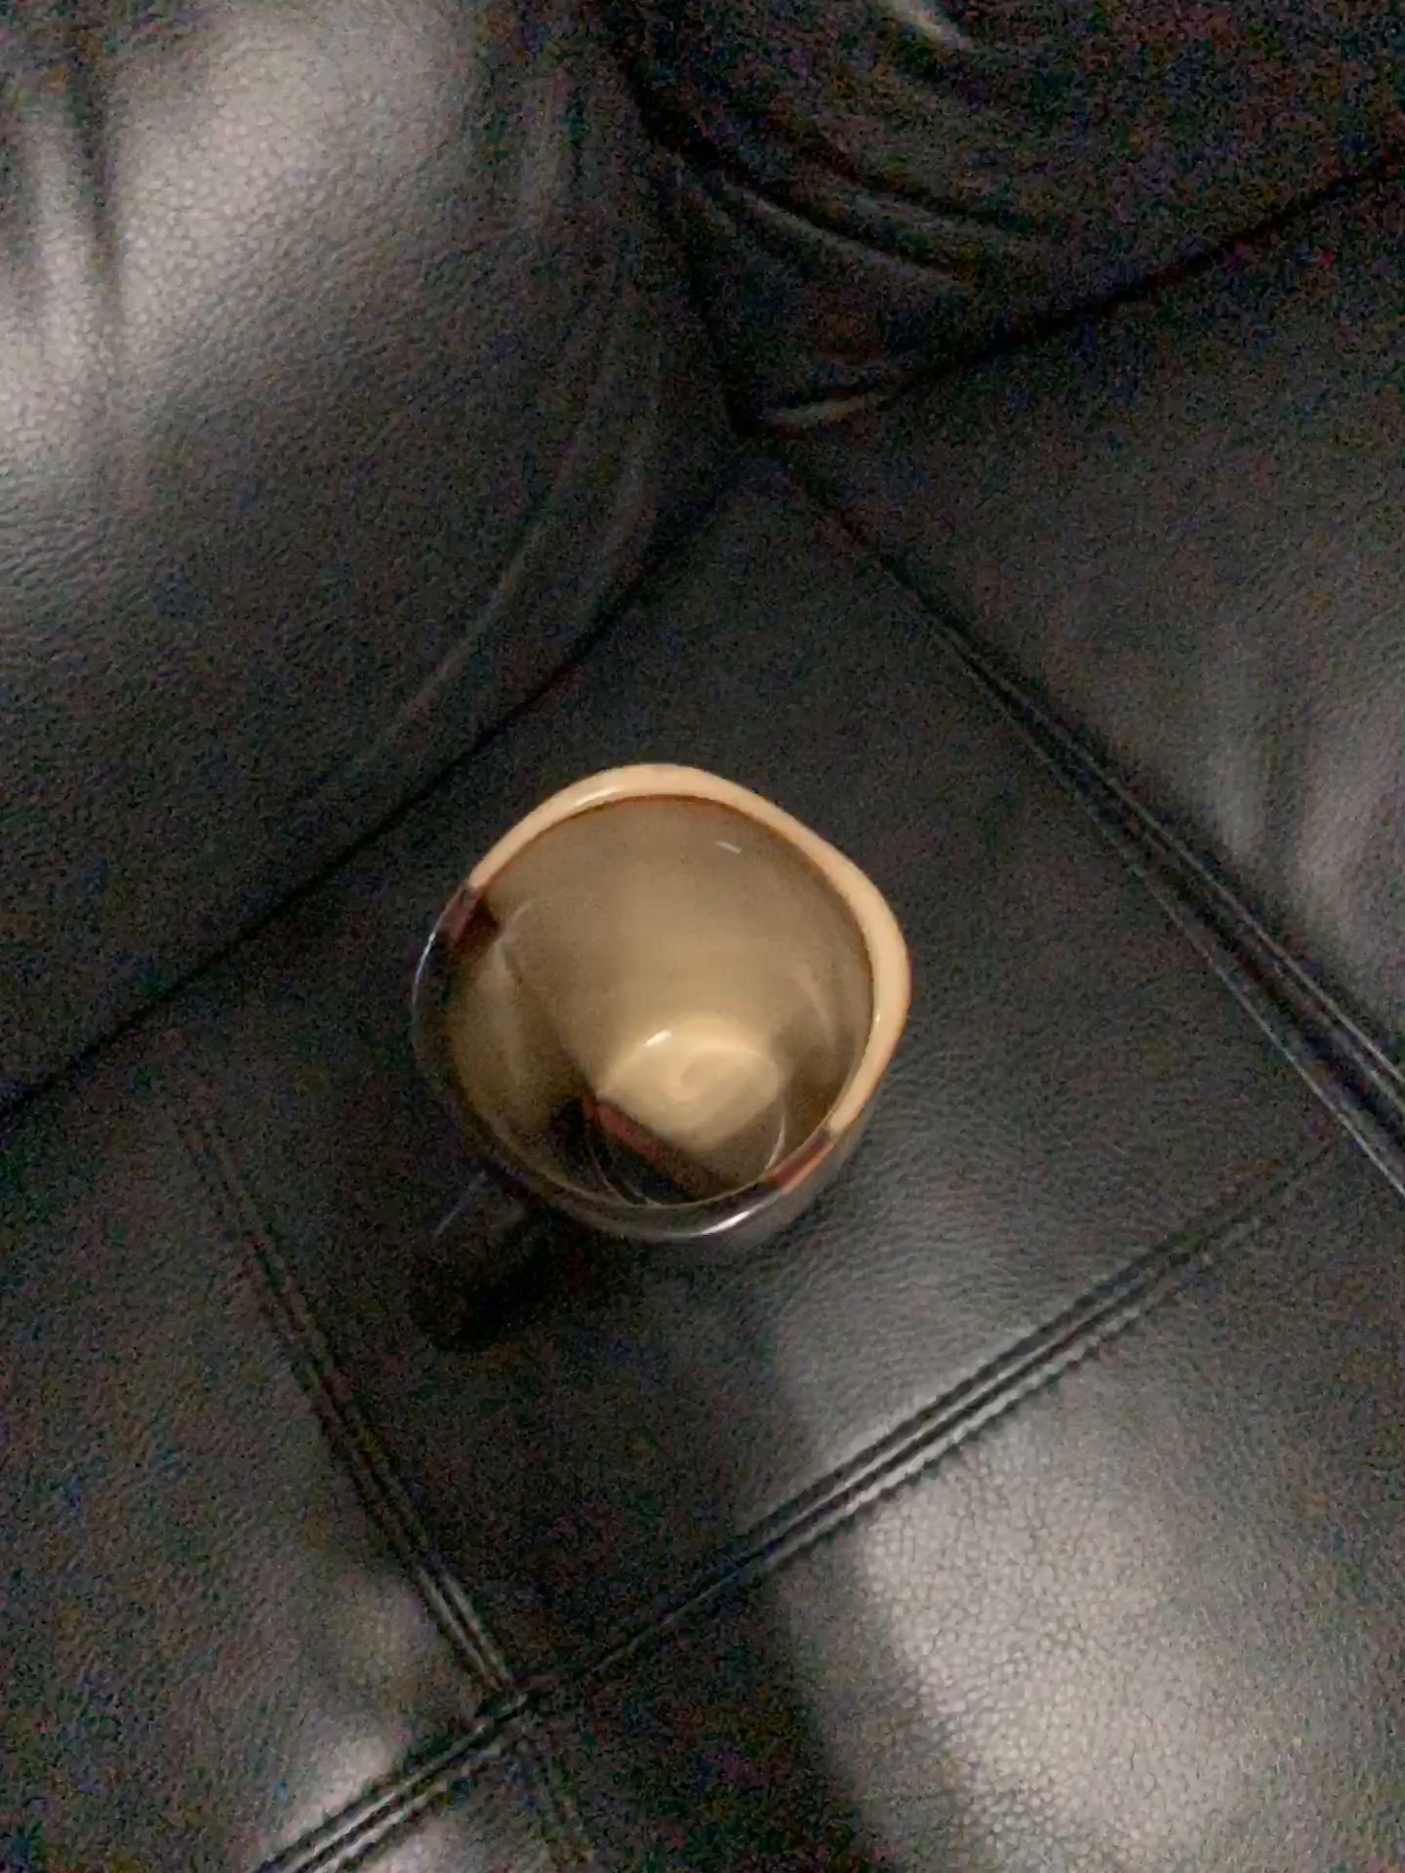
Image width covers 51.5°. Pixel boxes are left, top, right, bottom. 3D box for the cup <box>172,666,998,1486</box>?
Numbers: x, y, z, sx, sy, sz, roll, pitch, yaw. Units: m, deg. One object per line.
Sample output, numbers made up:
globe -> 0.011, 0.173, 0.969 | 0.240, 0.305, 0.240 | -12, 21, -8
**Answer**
cup -> -0.020, 0.038, 0.342 | 0.098, 0.110, 0.138 | 40, 77, 15
